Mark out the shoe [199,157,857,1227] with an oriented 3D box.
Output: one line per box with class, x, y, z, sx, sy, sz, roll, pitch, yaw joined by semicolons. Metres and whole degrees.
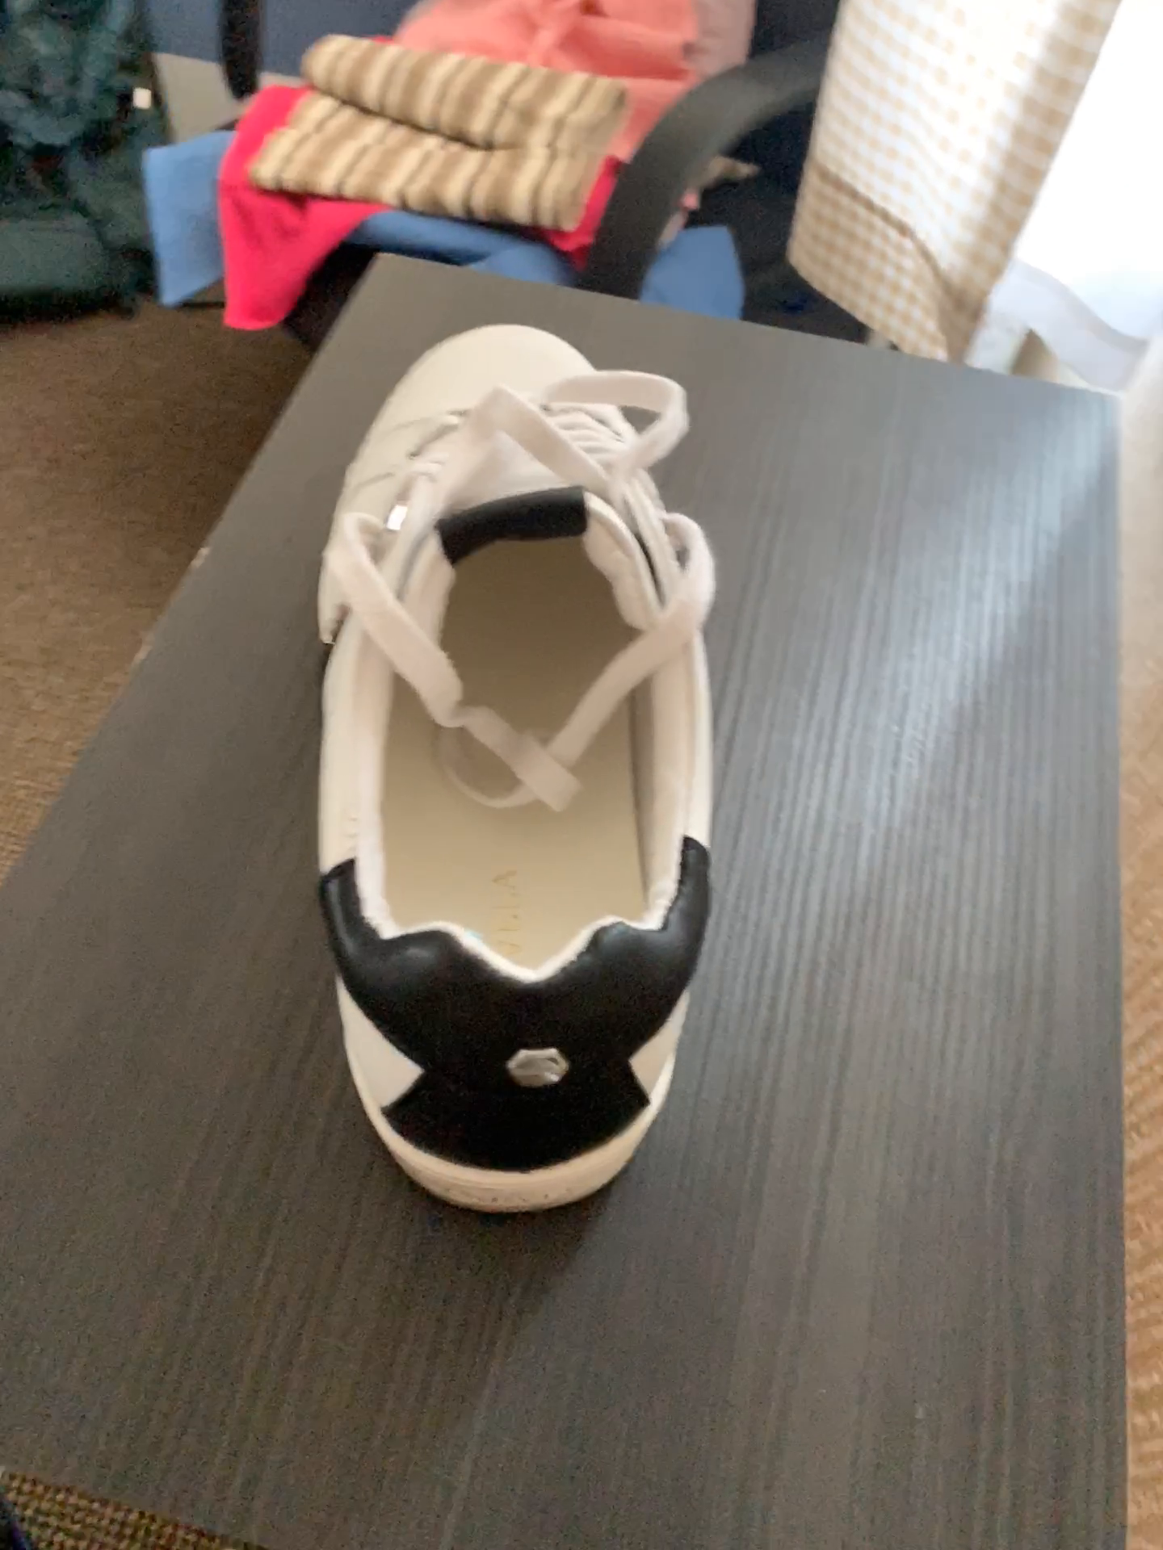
shoe;-0.023;-0.039;0.297;0.104;0.087;0.262;-4;56;-6
